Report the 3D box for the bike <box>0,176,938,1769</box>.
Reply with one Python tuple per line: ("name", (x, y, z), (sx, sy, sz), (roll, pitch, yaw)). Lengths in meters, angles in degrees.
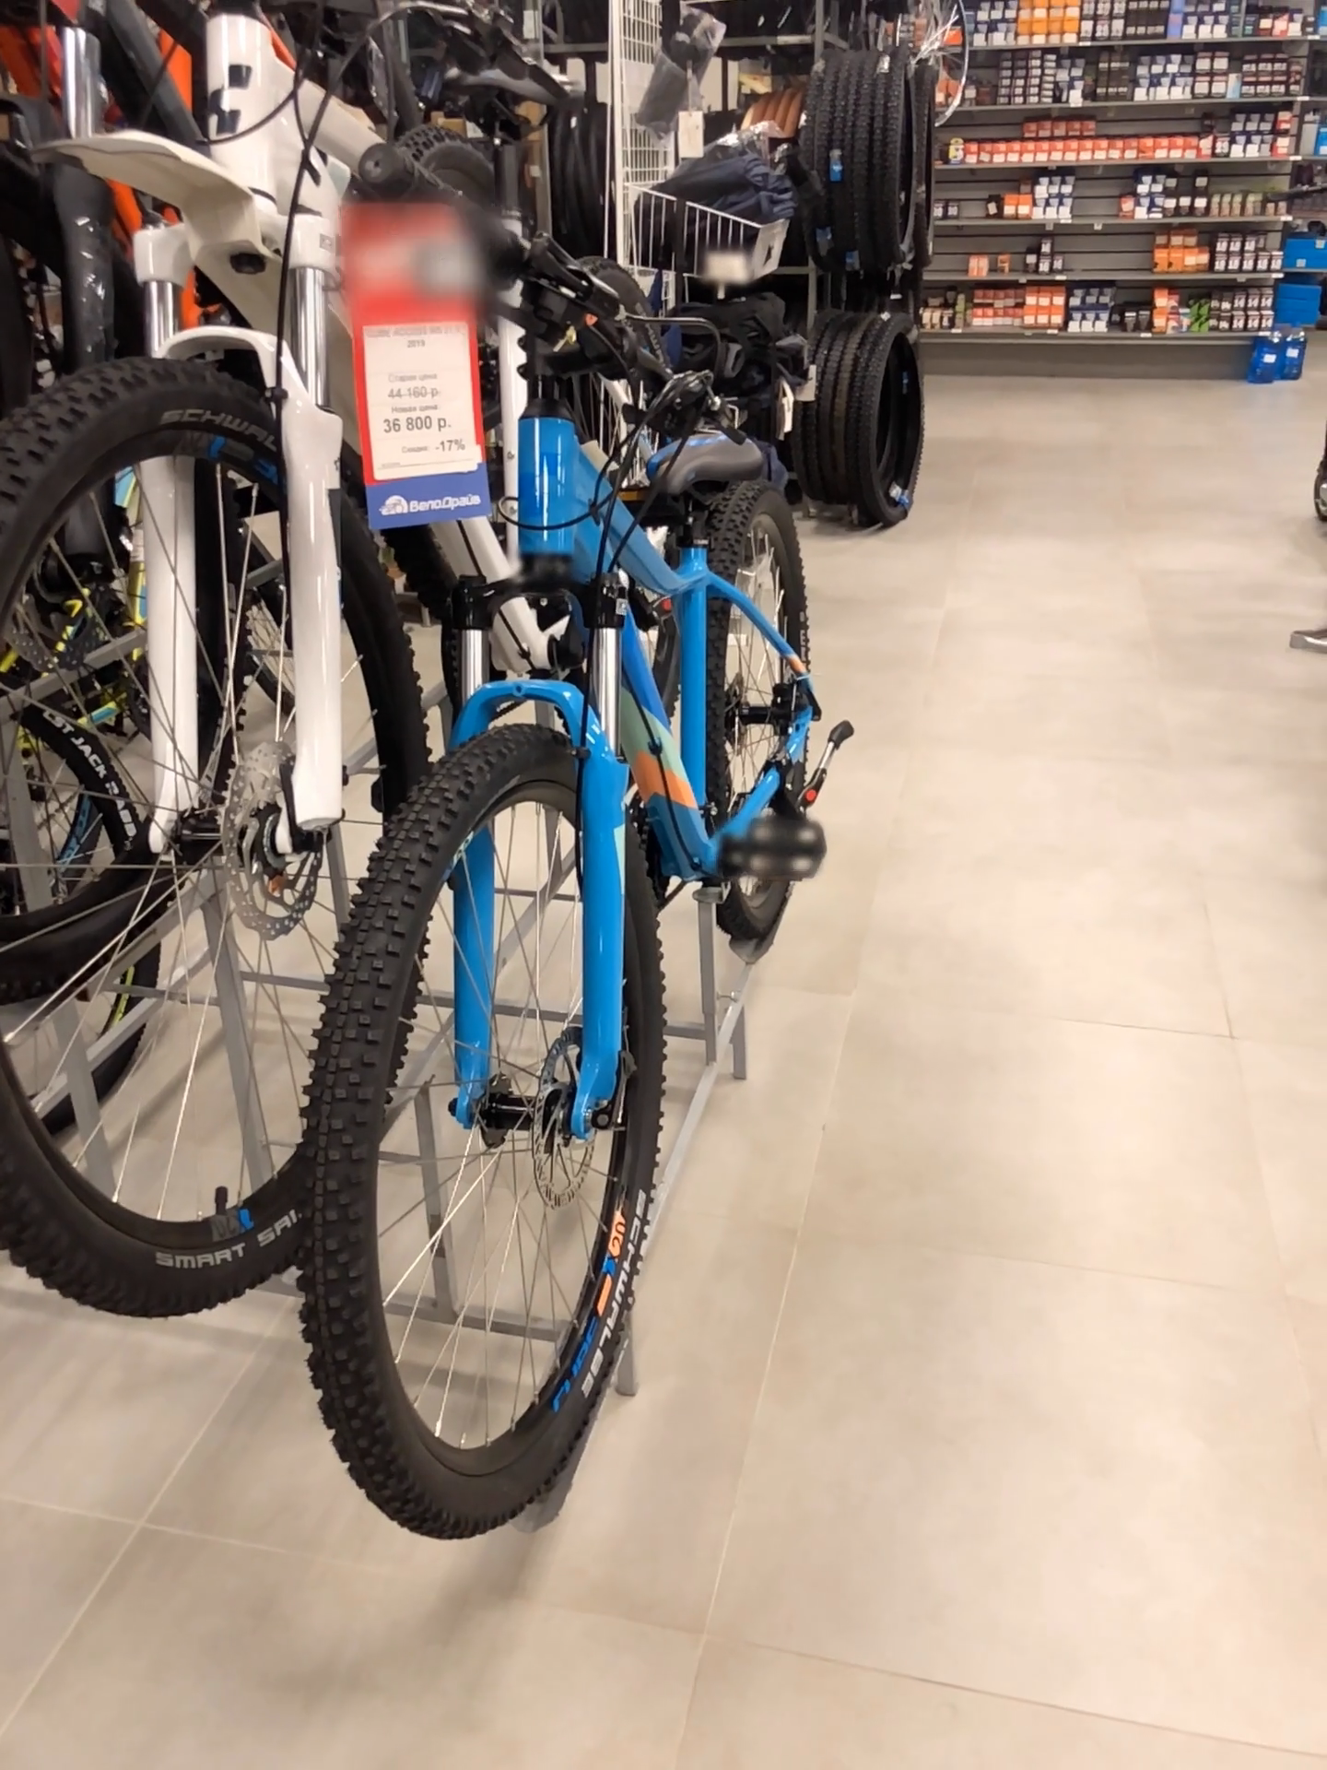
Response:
("bike", (-0.109, -0.180, 1.653), (0.630, 1.082, 1.711), (5, 27, 12))
